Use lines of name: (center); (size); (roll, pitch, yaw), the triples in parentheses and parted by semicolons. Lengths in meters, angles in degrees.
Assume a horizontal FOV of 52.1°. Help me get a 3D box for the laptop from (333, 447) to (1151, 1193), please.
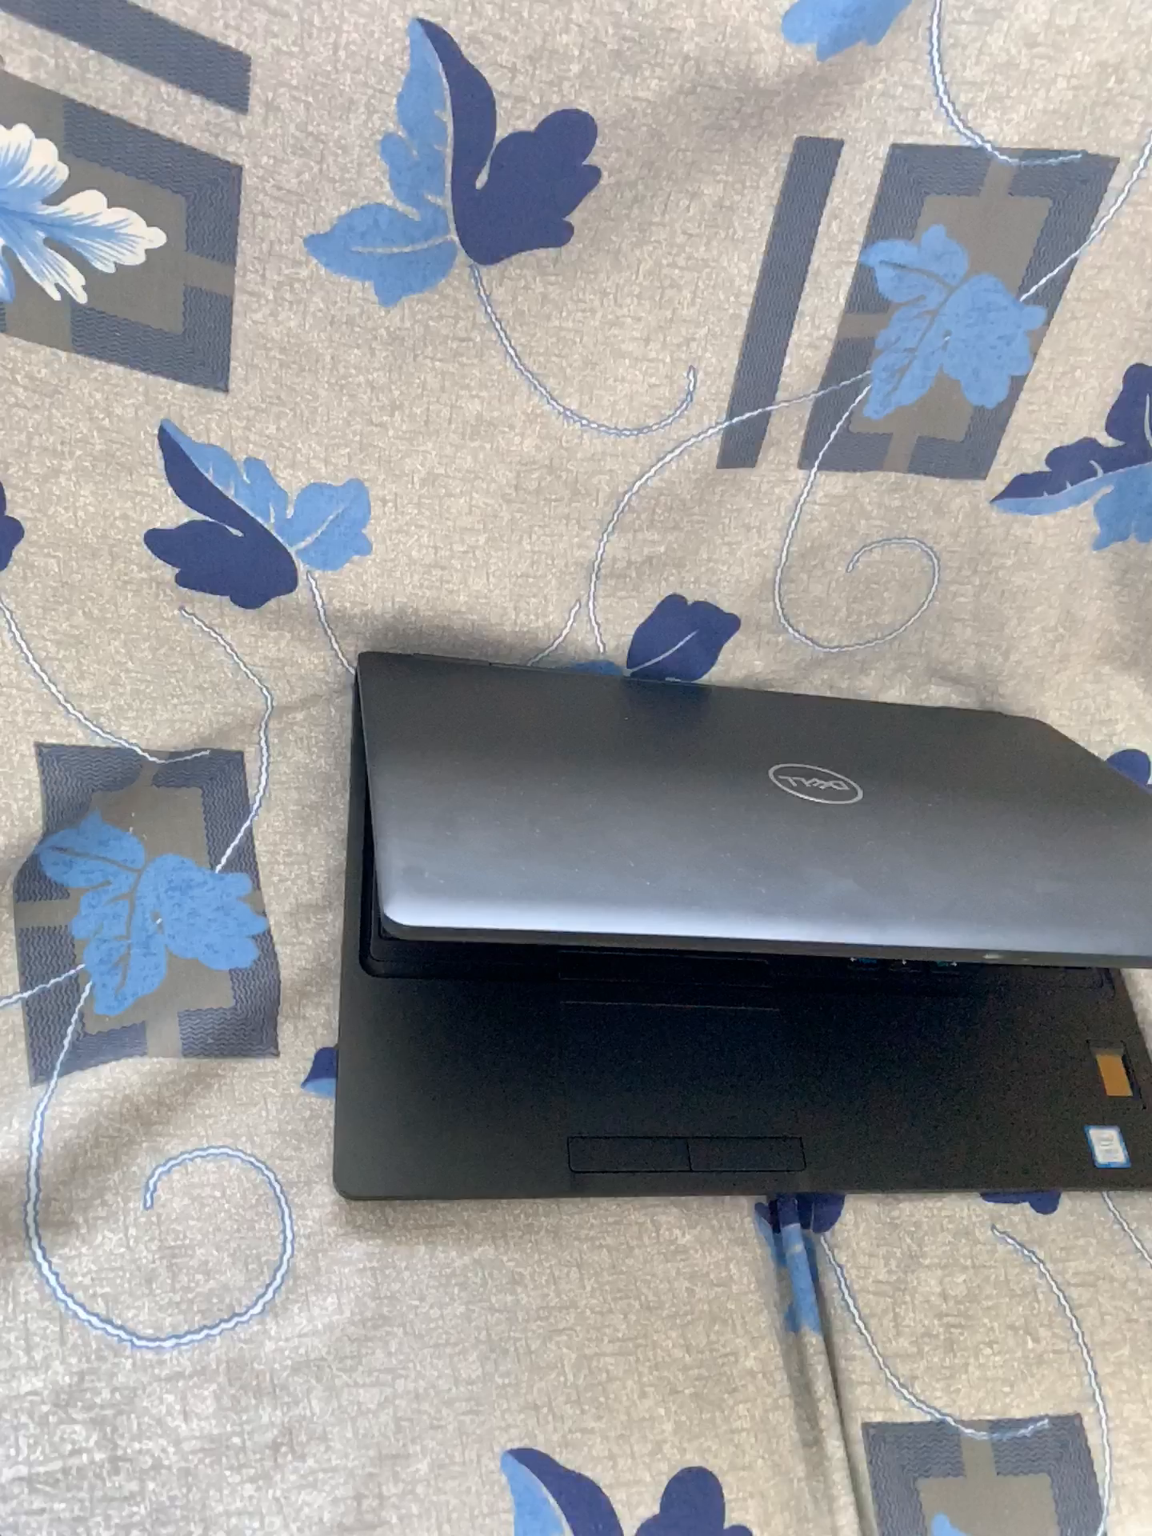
laptop: (0.103, 0.032, 0.476); (0.371, 0.142, 0.239); (5, 58, -14)
